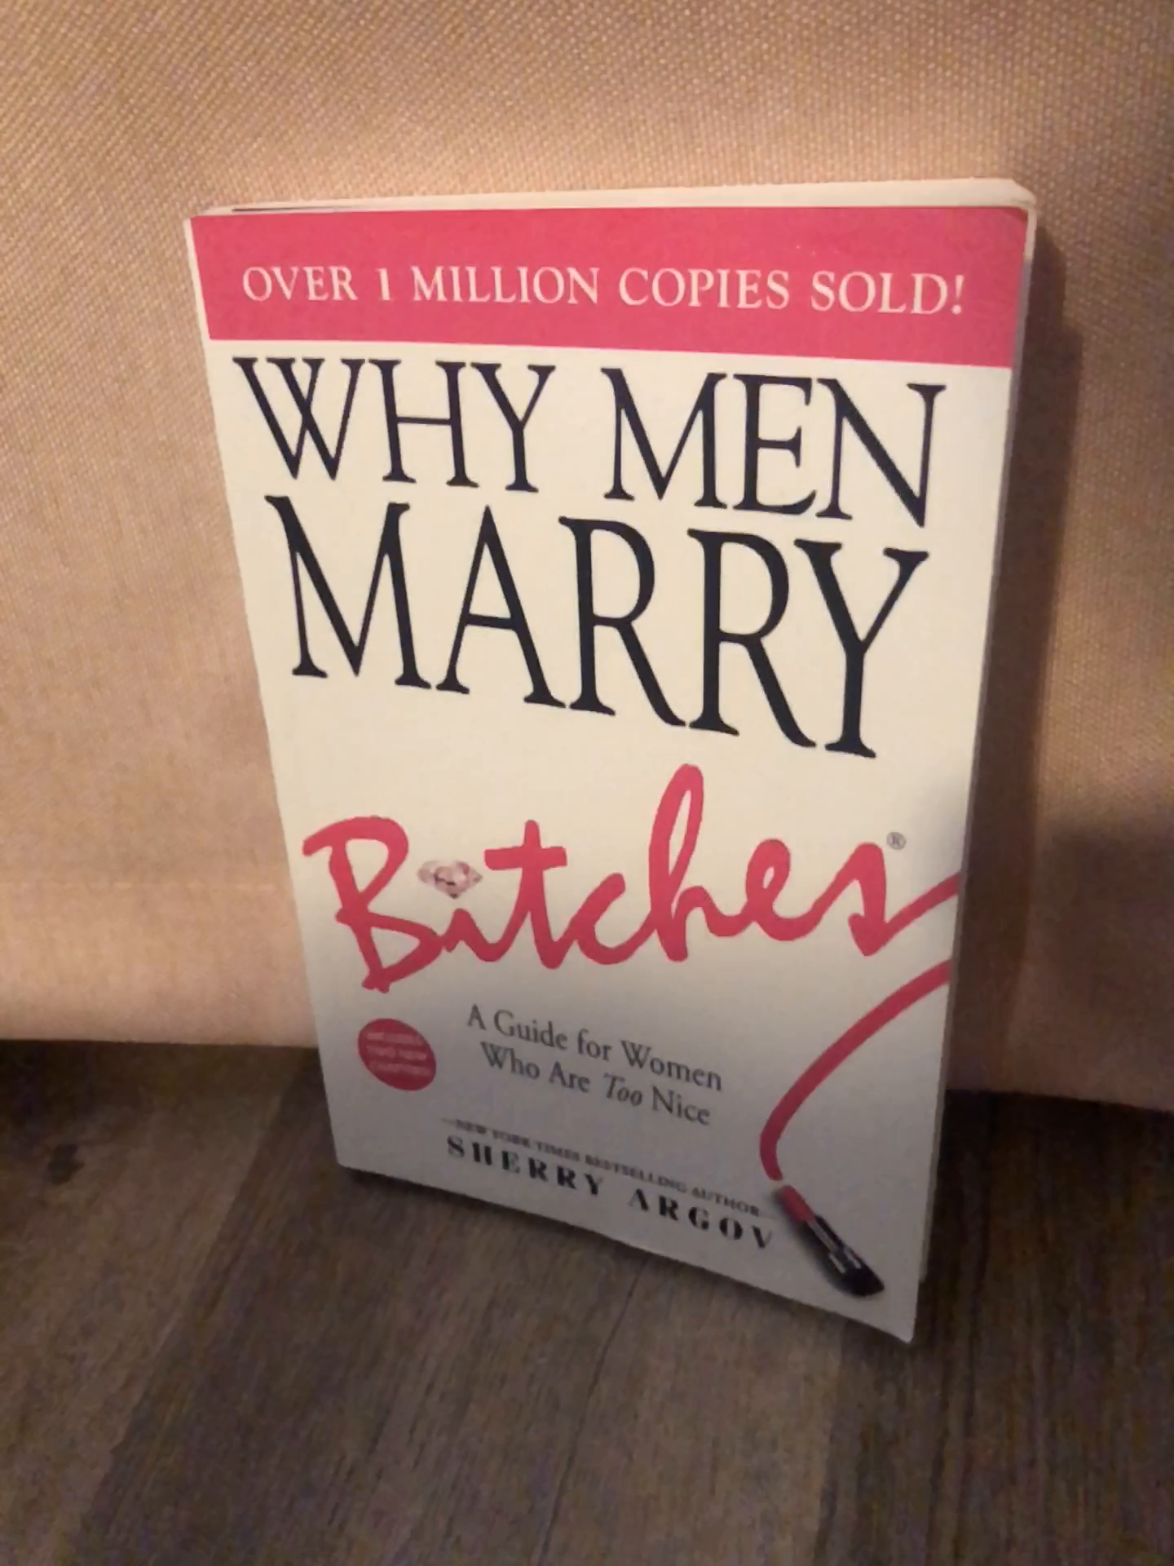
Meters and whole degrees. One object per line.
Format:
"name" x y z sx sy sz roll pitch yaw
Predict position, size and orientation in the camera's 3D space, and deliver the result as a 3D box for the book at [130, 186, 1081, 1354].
"book" 0.002 0.002 0.263 0.150 0.219 0.037 10 30 20
